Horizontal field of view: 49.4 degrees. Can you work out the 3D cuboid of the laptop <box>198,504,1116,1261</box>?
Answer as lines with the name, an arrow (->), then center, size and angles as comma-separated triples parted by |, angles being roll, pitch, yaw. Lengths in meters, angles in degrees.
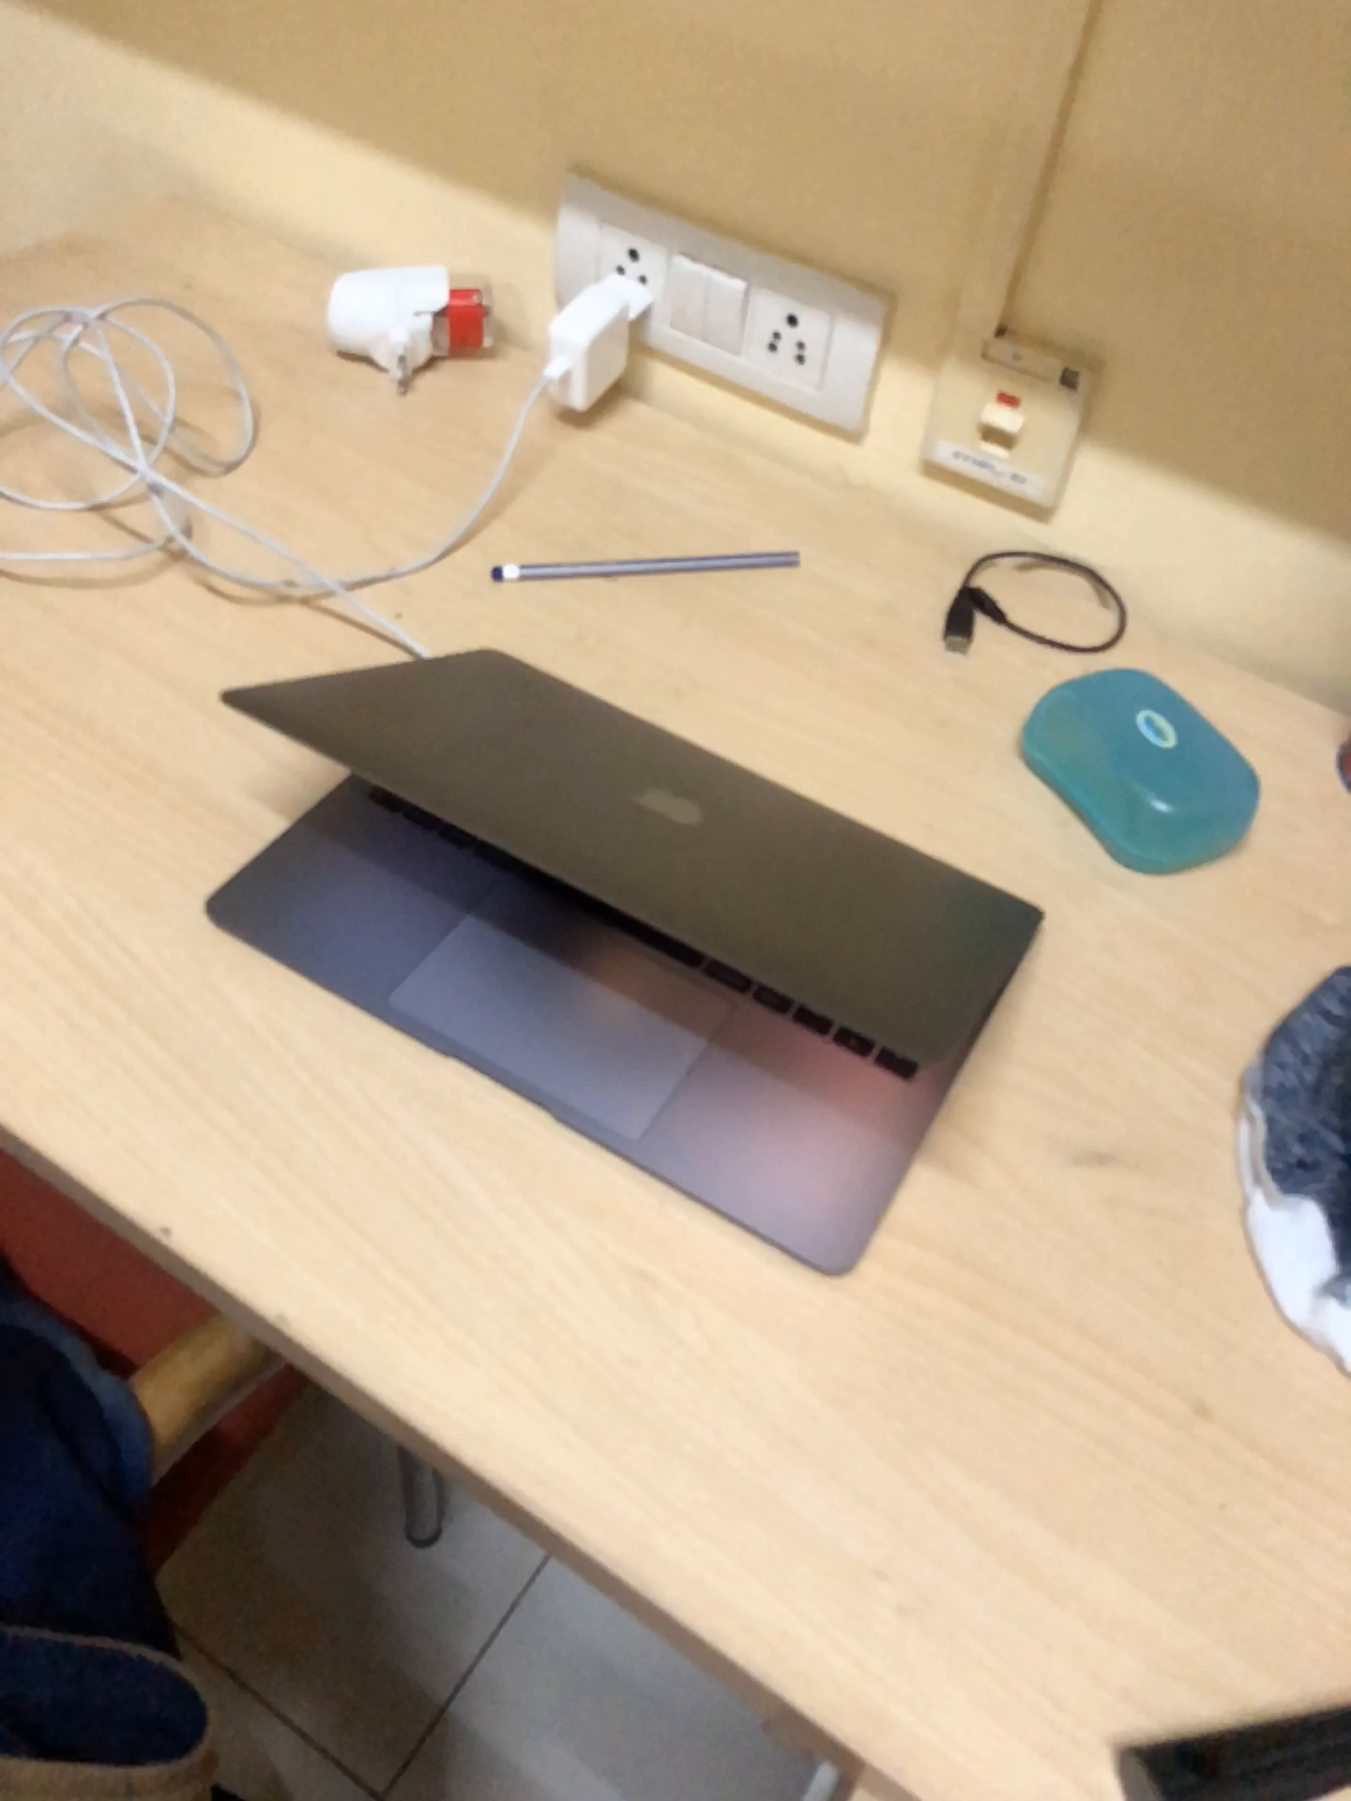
laptop -> -0.007, -0.024, 0.596 | 0.294, 0.094, 0.194 | 27, 50, 16
